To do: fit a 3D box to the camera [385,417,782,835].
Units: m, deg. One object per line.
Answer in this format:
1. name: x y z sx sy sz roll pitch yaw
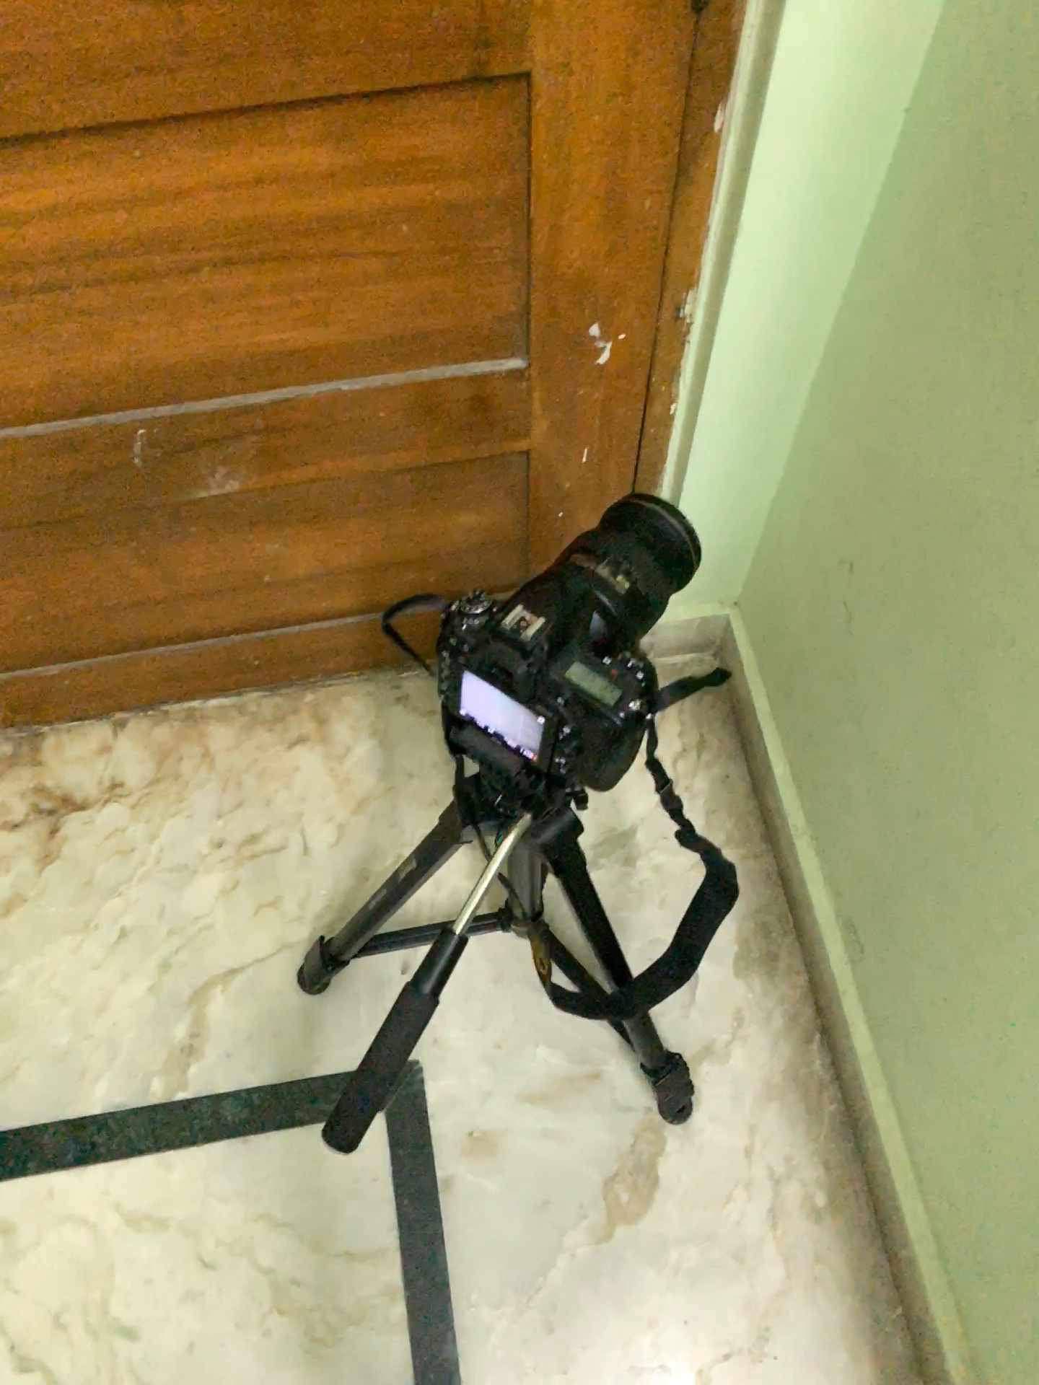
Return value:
1. camera: 0.043 -0.046 0.719 0.175 0.128 0.189 30 67 15
